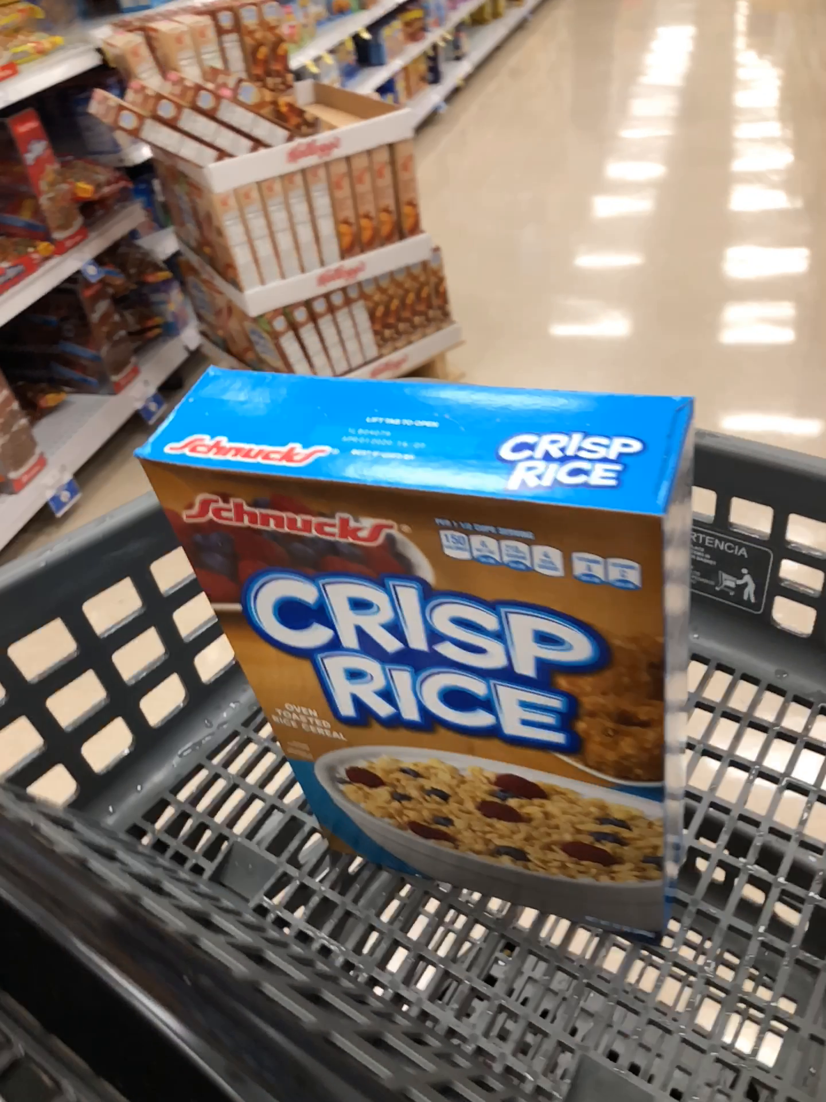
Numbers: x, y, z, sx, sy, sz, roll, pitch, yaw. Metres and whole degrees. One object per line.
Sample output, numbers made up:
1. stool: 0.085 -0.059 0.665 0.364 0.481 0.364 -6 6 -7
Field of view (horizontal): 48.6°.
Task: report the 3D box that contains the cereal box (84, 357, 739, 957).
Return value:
1. cereal box: 0.017 0.062 0.415 0.220 0.299 0.060 7 46 20
